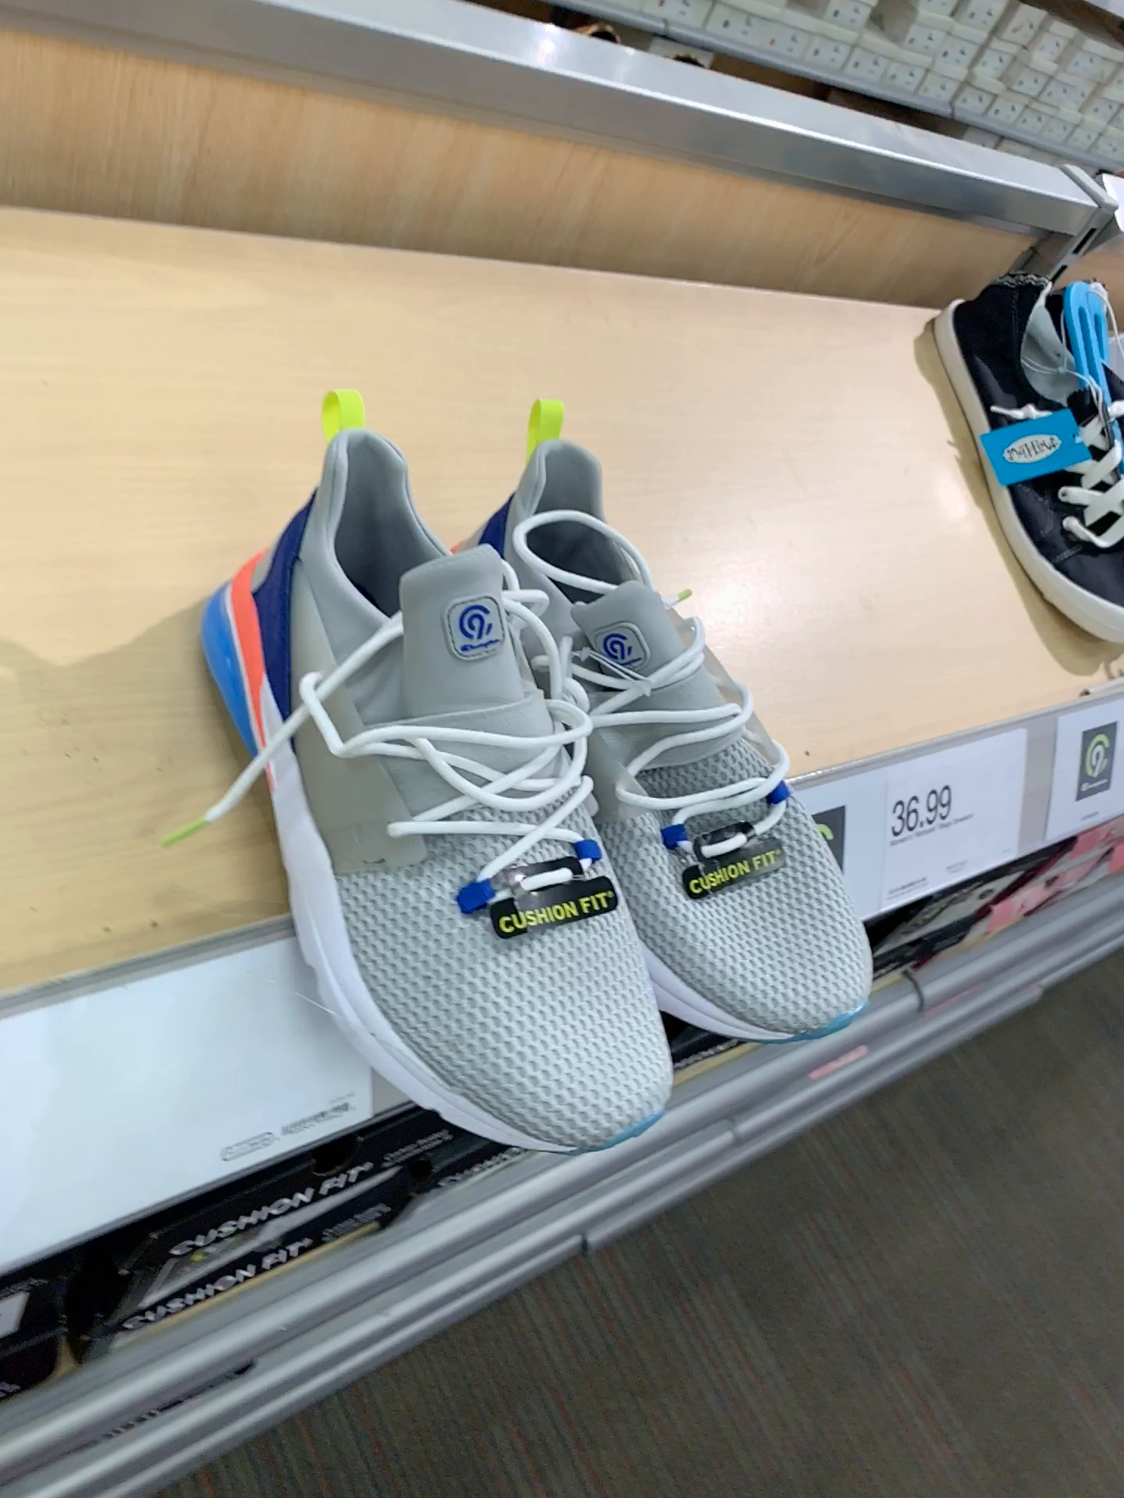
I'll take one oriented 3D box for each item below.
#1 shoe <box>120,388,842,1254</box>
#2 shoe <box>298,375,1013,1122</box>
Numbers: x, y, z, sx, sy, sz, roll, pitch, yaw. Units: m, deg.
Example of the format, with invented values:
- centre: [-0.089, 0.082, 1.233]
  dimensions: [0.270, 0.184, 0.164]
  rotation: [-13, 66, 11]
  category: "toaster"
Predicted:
- centre: [-0.043, 0.004, 0.393]
  dimensions: [0.110, 0.090, 0.270]
  rotation: [-12, 60, -38]
  category: "shoe"
- centre: [0.024, -0.016, 0.445]
  dimensions: [0.110, 0.090, 0.270]
  rotation: [-19, 64, -41]
  category: "shoe"
